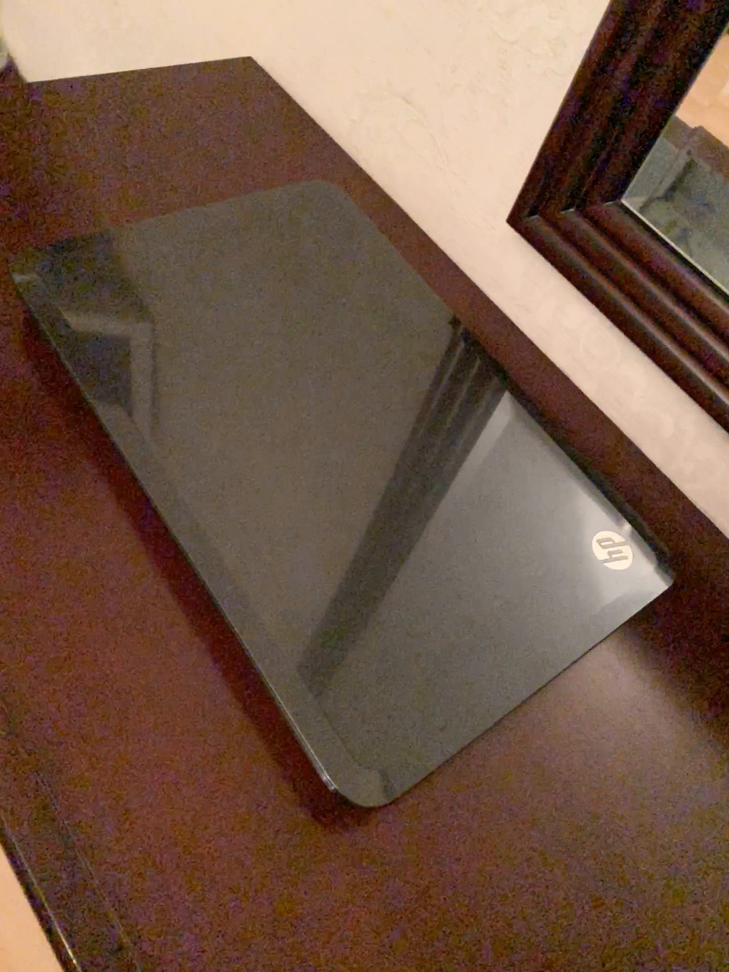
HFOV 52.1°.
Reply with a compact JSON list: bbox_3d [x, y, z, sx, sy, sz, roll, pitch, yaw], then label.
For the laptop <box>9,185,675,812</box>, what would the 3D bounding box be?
[{"bbox_3d":[-0.015,-0.039,0.417,0.222,0.003,0.345,-26,68,-29],"label":"laptop"}]
